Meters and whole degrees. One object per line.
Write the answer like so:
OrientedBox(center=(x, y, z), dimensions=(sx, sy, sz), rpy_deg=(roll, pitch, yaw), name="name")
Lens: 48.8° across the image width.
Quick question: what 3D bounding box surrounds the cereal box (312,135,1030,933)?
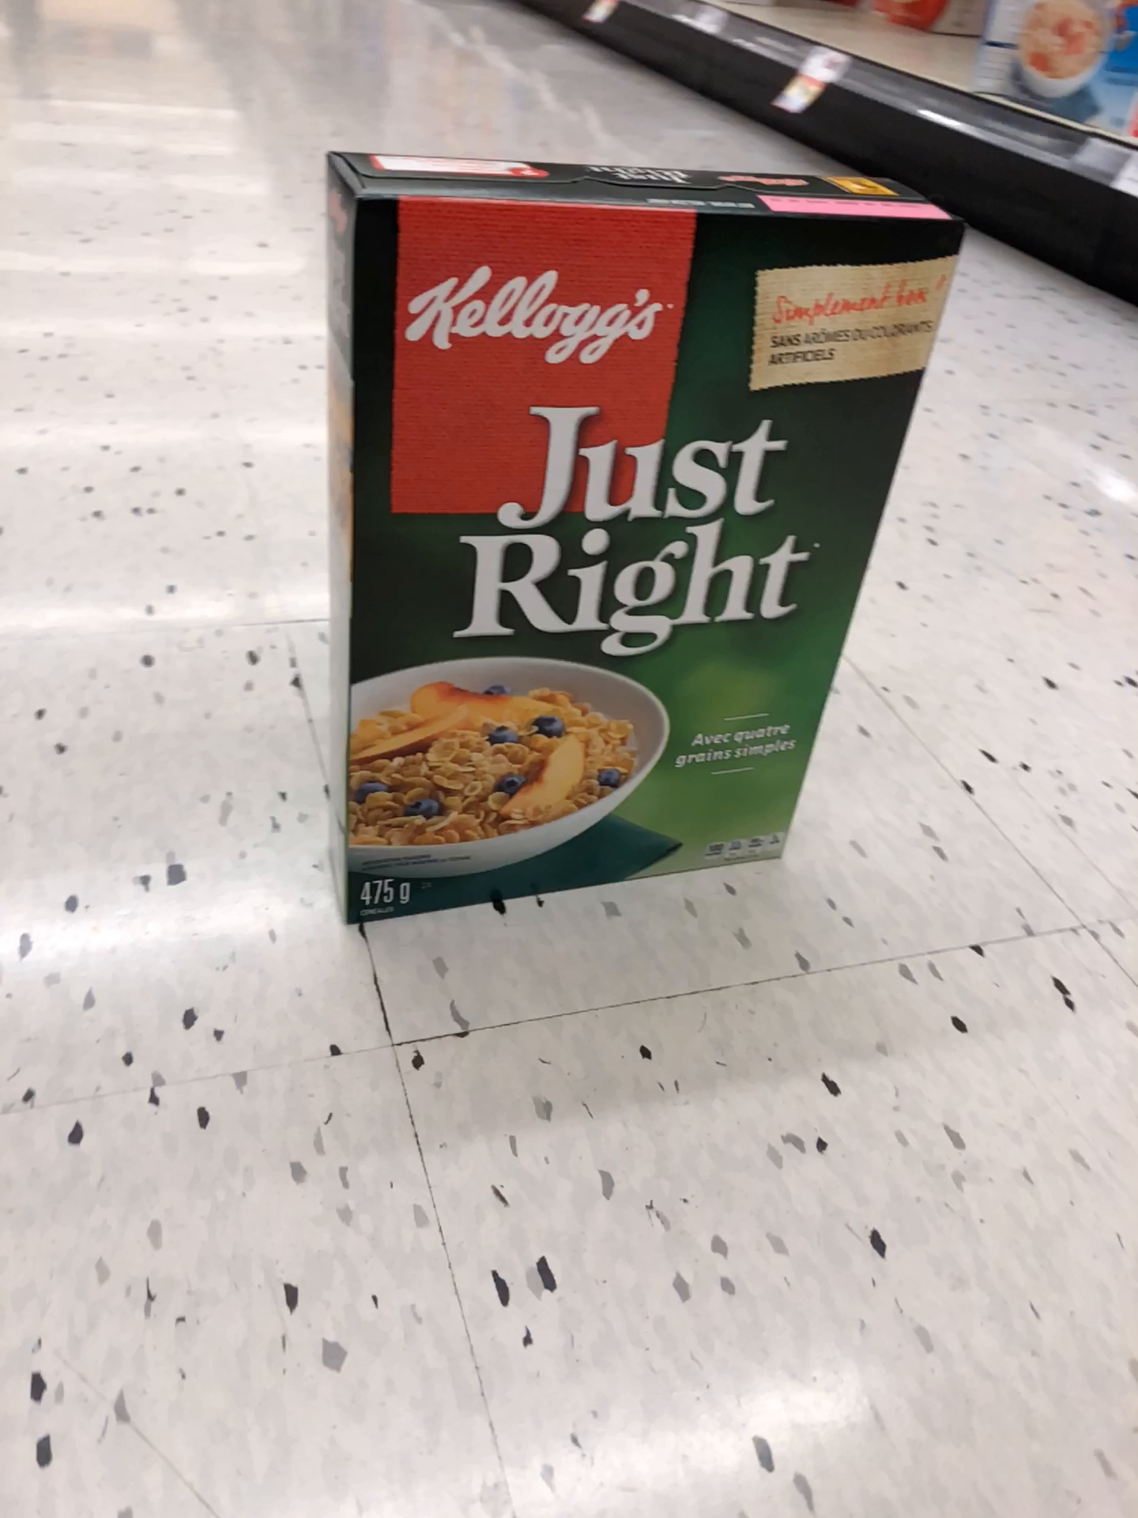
OrientedBox(center=(0.019, -0.066, 0.449), dimensions=(0.210, 0.268, 0.050), rpy_deg=(-5, 38, -17), name="cereal box")
